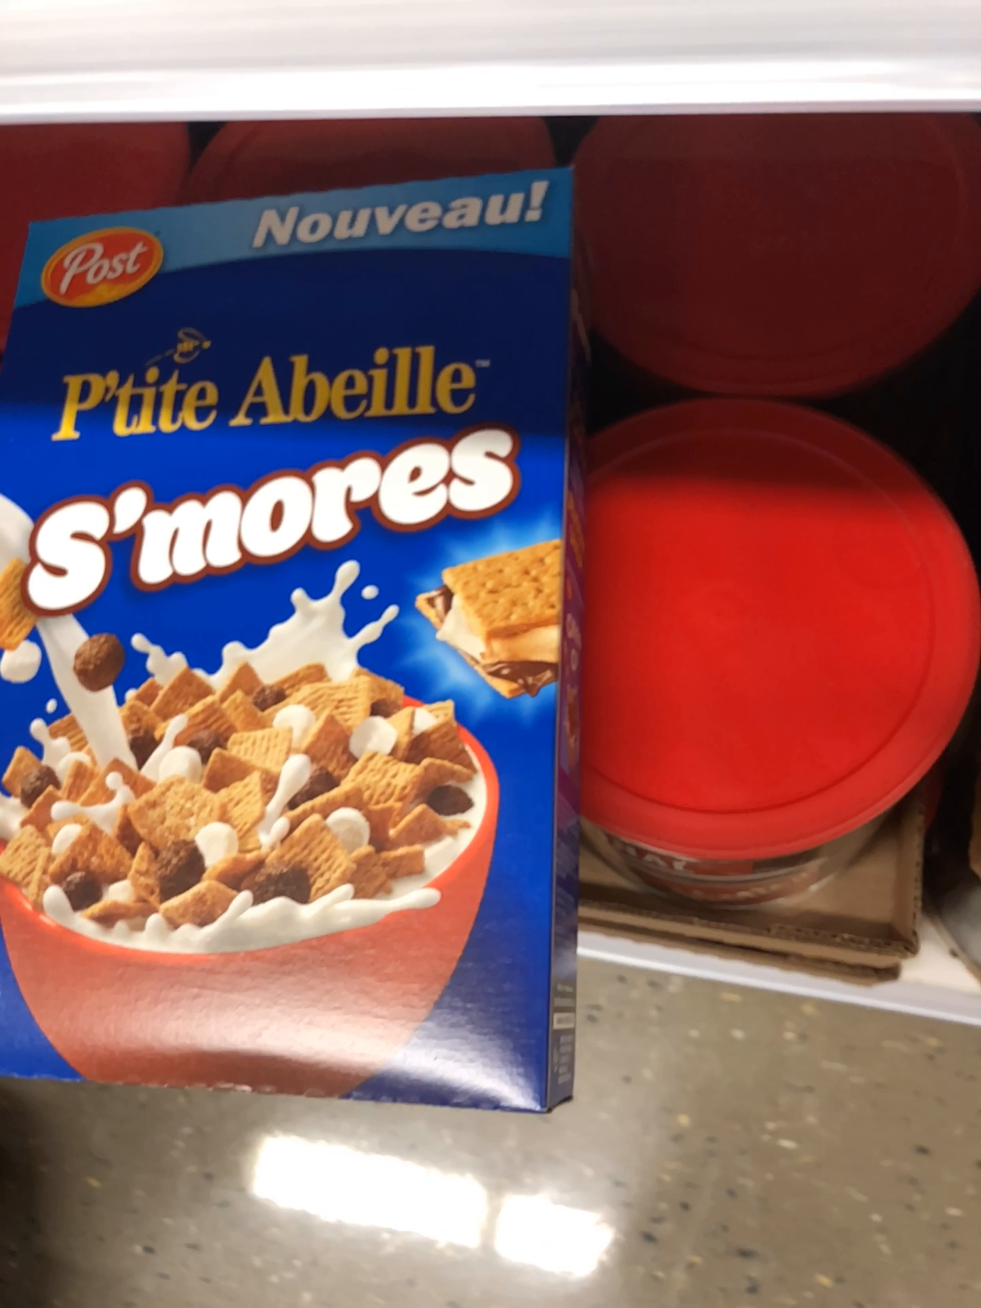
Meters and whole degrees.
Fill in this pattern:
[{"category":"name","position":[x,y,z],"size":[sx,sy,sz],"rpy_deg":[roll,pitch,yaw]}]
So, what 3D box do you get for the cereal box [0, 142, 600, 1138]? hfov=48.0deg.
[{"category":"cereal box","position":[-0.072,-0.013,0.354],"size":[0.200,0.060,0.290],"rpy_deg":[-1,72,13]}]
